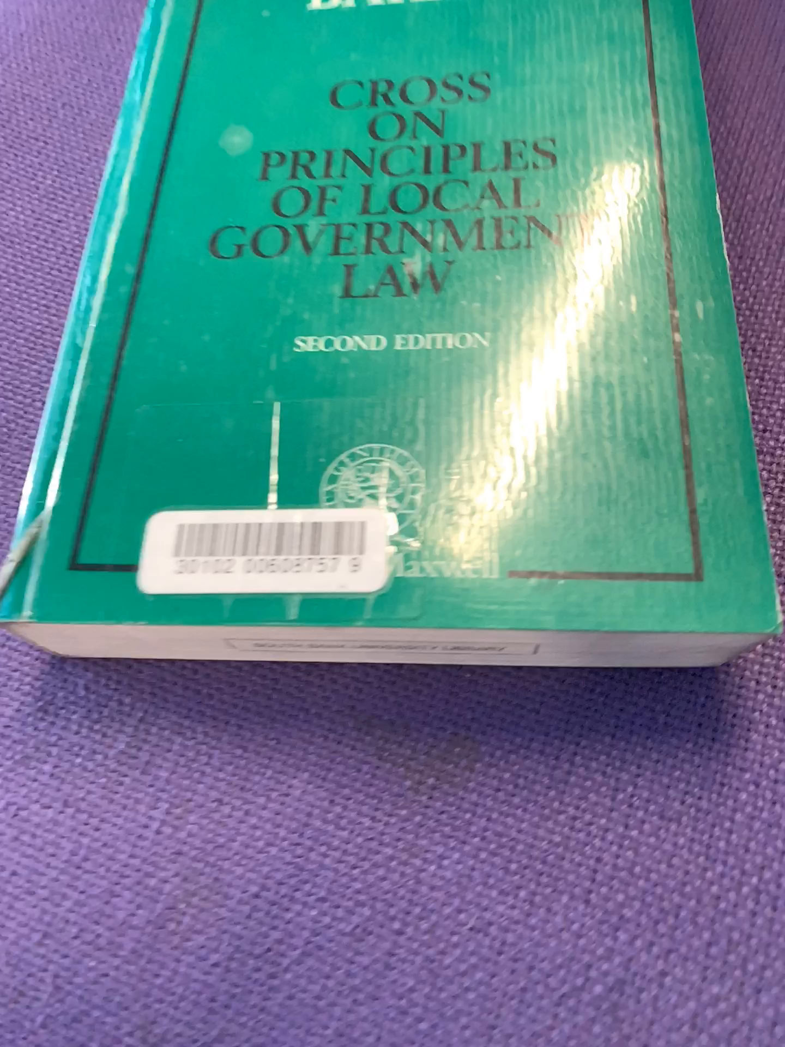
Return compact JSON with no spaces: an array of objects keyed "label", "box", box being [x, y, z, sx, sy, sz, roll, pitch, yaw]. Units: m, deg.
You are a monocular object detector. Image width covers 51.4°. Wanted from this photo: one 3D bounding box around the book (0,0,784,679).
[{"label":"book","box":[0.000,-0.083,0.212,0.160,0.040,0.237,0,65,6]}]
